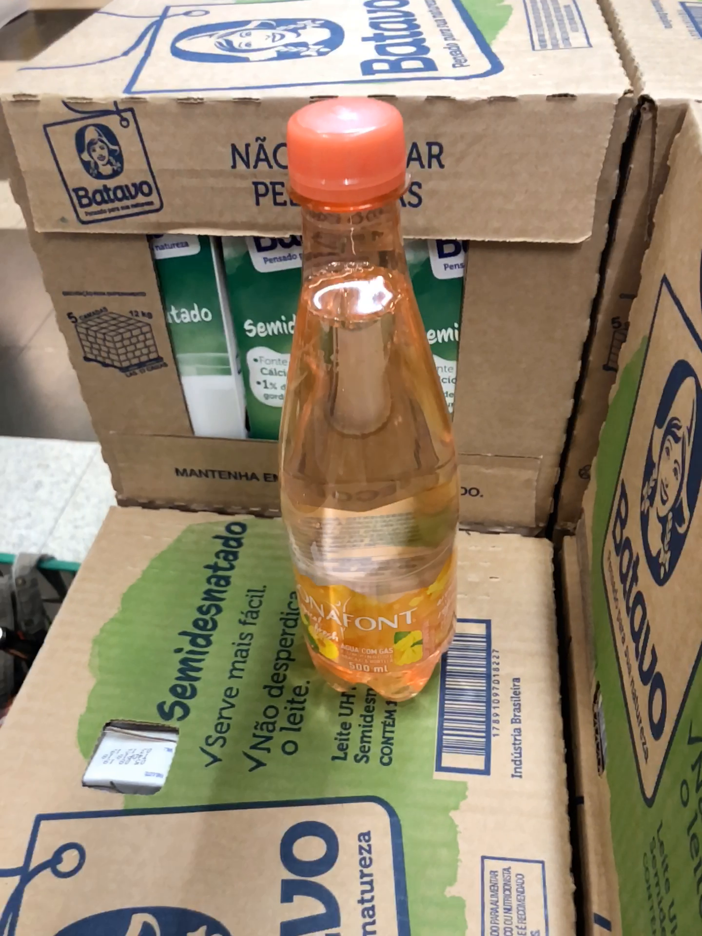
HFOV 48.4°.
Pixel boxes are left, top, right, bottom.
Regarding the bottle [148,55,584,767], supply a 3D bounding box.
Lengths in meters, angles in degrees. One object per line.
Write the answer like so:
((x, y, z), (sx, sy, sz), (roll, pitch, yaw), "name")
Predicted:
((0.007, -0.002, 0.269), (0.080, 0.228, 0.070), (31, 53, 31), "bottle")
